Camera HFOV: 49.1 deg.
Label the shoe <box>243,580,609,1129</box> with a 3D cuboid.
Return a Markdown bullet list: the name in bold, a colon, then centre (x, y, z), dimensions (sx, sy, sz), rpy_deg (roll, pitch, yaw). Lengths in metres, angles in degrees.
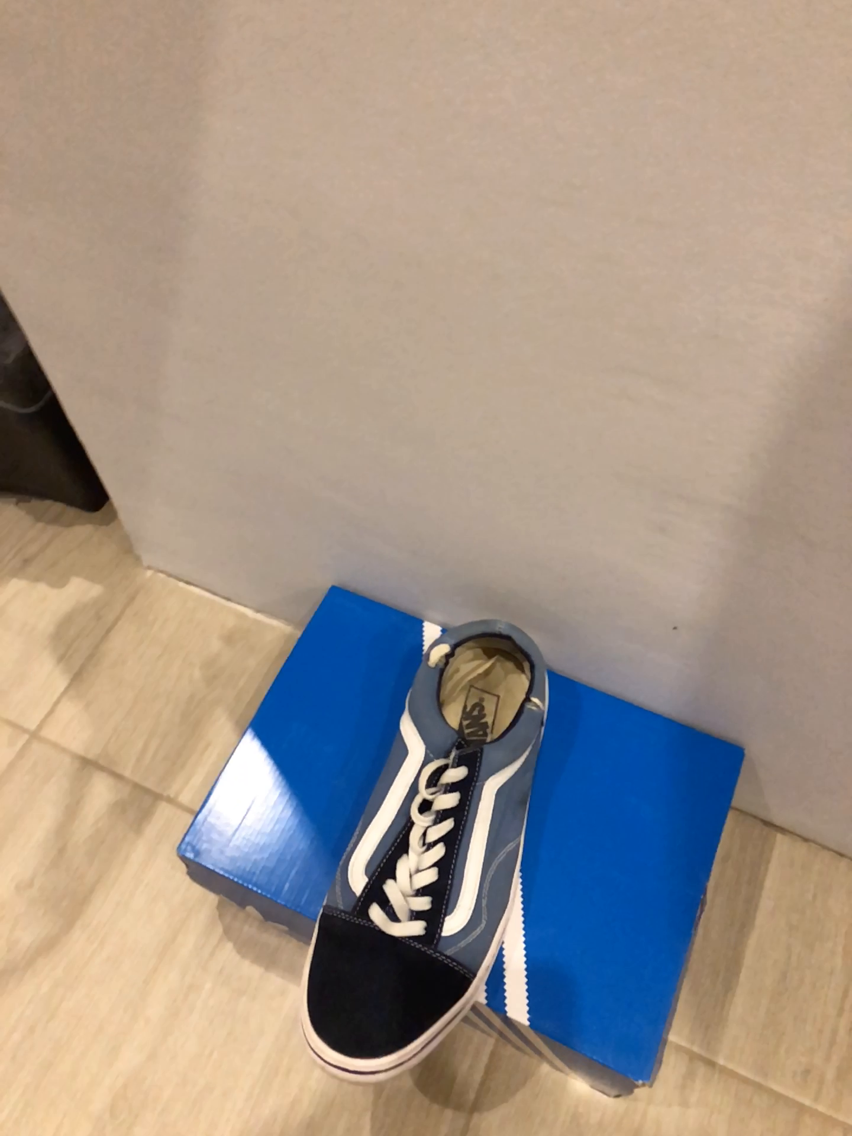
- **shoe**: centre (0.012, 0.156, 0.555), dimensions (0.110, 0.080, 0.281), rpy_deg (18, 59, 12)
